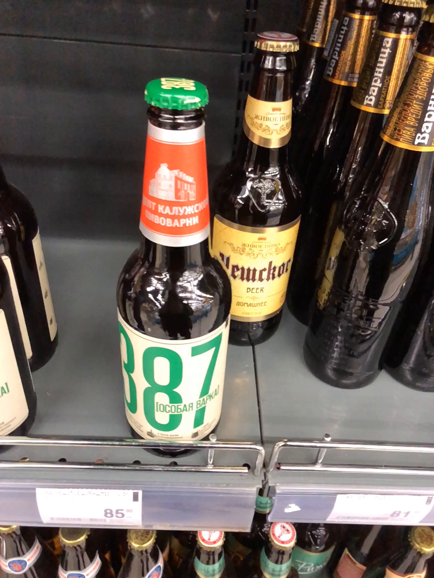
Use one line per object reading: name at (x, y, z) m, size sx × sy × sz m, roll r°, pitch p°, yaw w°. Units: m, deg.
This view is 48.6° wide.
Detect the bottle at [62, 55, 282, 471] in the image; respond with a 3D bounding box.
bottle at (-0.022, 0.002, 0.276) m, size 0.080 × 0.229 × 0.070 m, roll 9°, pitch 38°, yaw 5°
